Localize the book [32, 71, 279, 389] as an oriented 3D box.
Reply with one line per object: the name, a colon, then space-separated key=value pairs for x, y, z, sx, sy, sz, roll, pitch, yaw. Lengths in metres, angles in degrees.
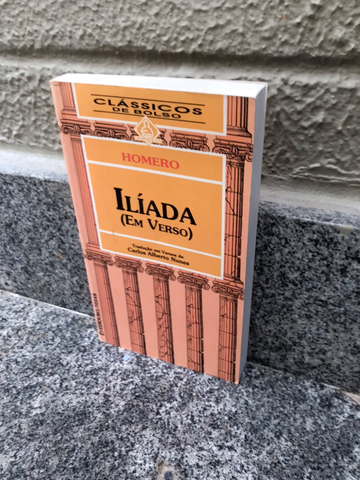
book: x=-0.014 y=0.003 z=0.285 sx=0.139 sy=0.218 sz=0.030 roll=12 pitch=36 yaw=20
